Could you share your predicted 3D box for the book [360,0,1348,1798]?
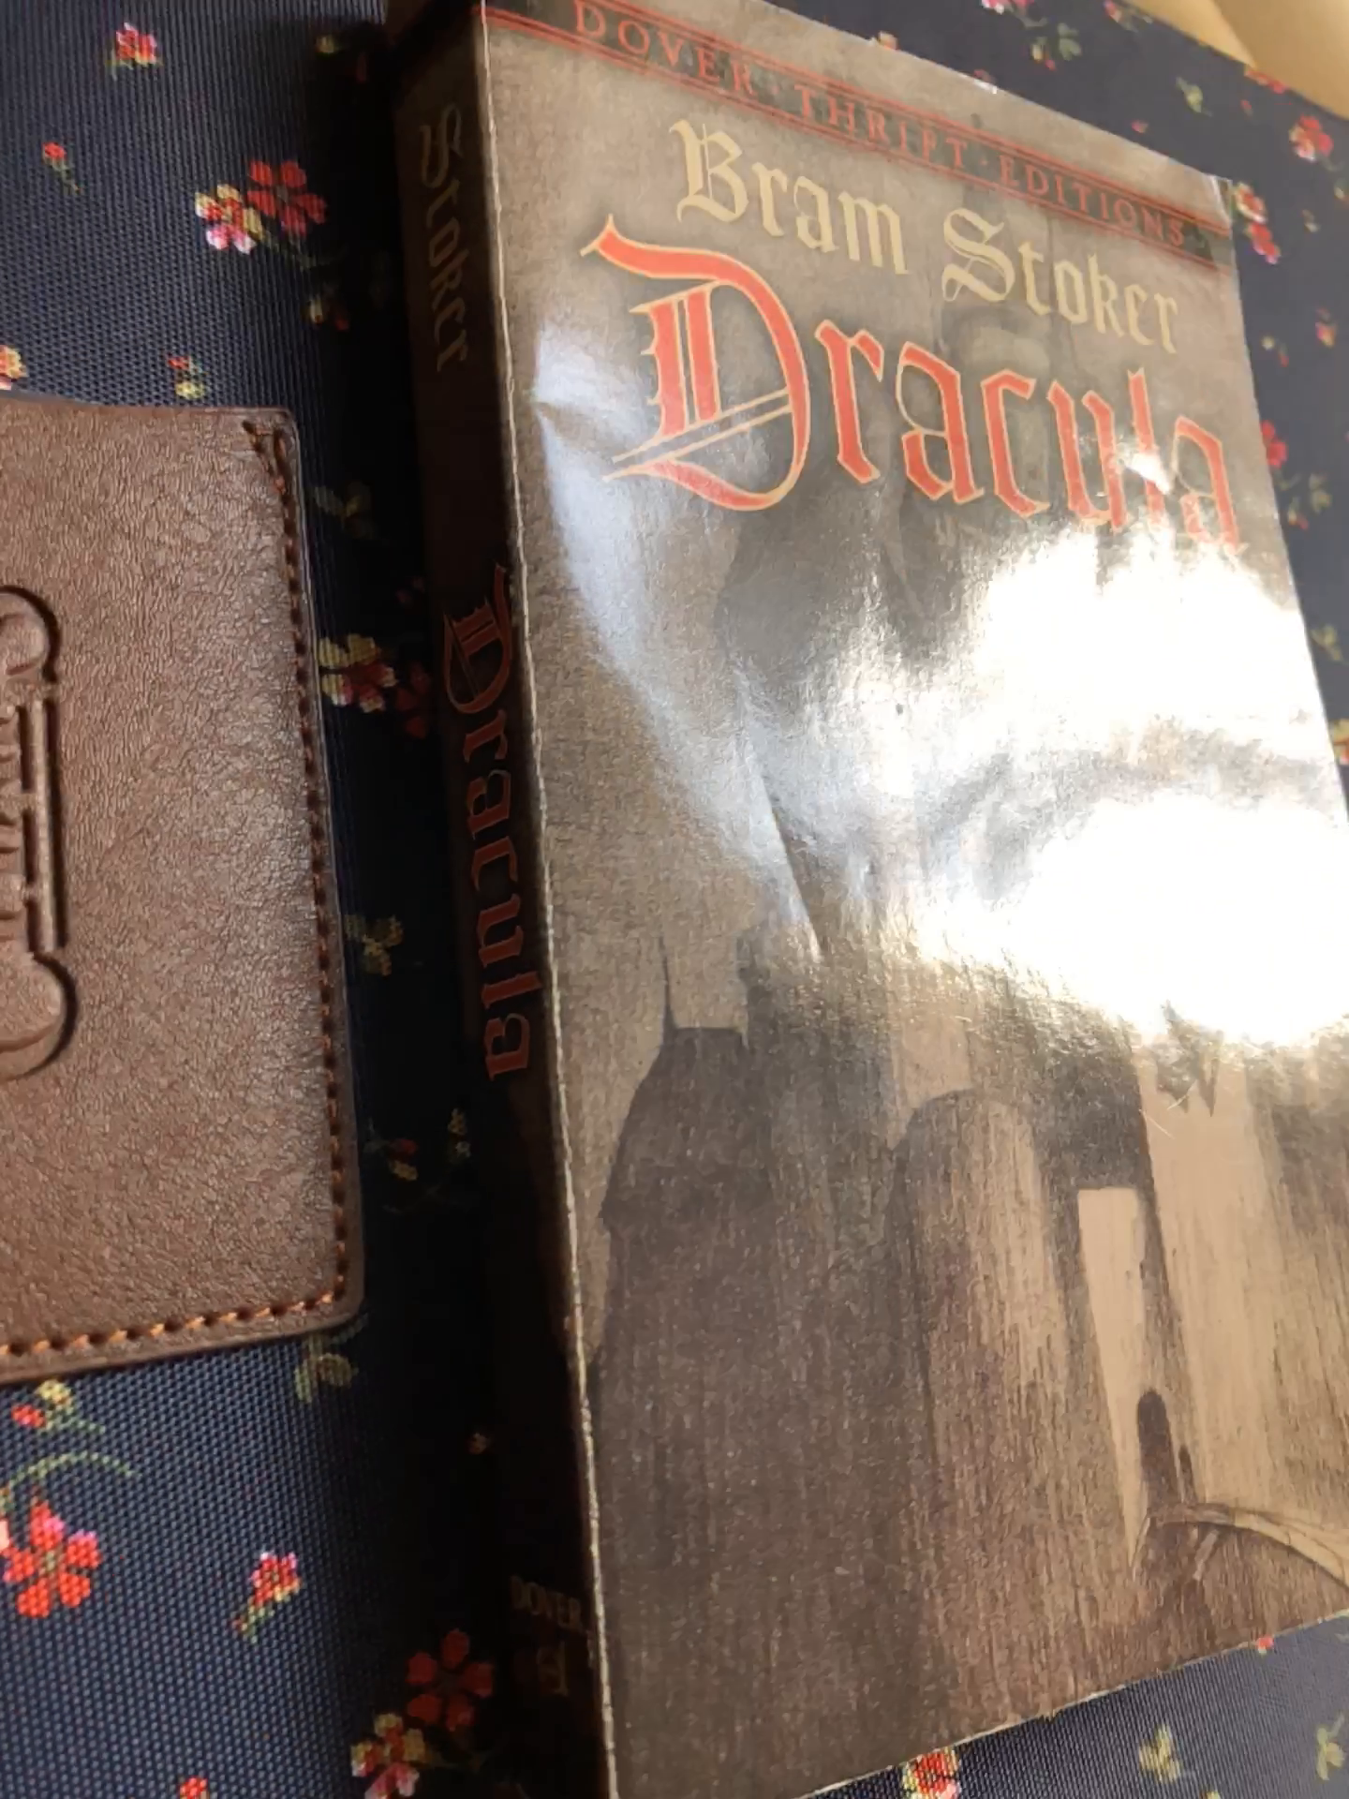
[{"bbox_3d":[0.034,-0.008,0.197,0.131,0.033,0.202,0,78,-32],"label":"book"}]
